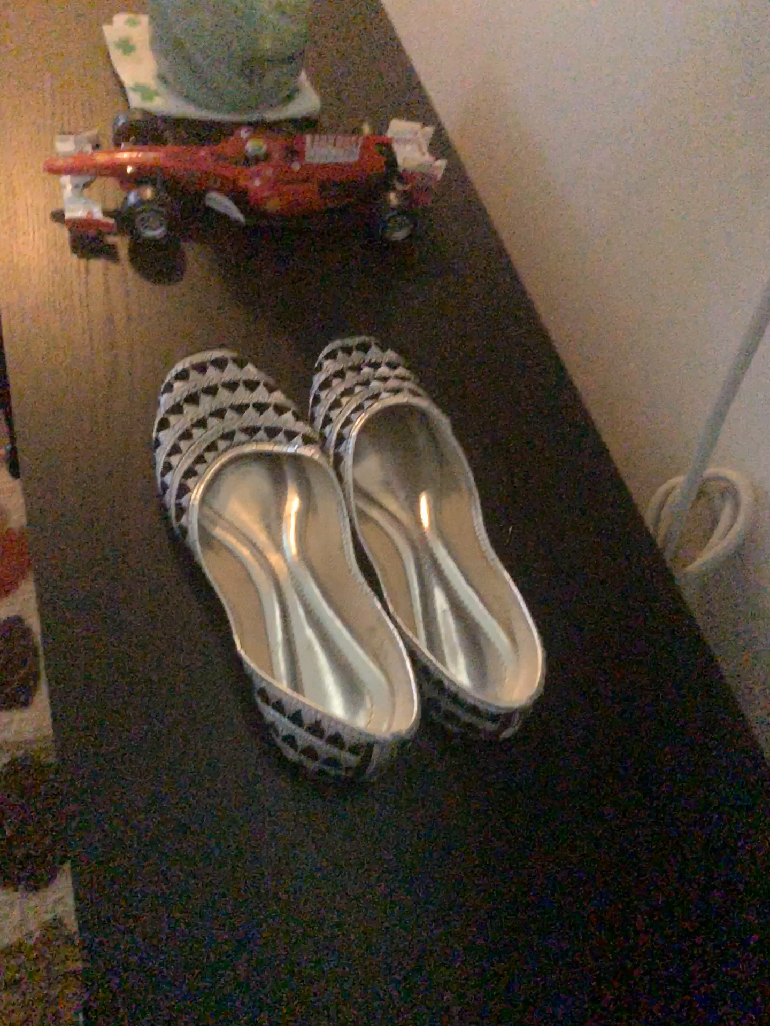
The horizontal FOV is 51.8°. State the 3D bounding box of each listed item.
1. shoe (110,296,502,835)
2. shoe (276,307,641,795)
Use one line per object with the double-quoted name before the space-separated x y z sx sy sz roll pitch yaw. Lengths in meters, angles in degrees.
"shoe" -0.056 0.015 0.421 0.100 0.079 0.261 -16 66 -26
"shoe" 0.029 0.009 0.473 0.100 0.079 0.271 -11 64 -24
